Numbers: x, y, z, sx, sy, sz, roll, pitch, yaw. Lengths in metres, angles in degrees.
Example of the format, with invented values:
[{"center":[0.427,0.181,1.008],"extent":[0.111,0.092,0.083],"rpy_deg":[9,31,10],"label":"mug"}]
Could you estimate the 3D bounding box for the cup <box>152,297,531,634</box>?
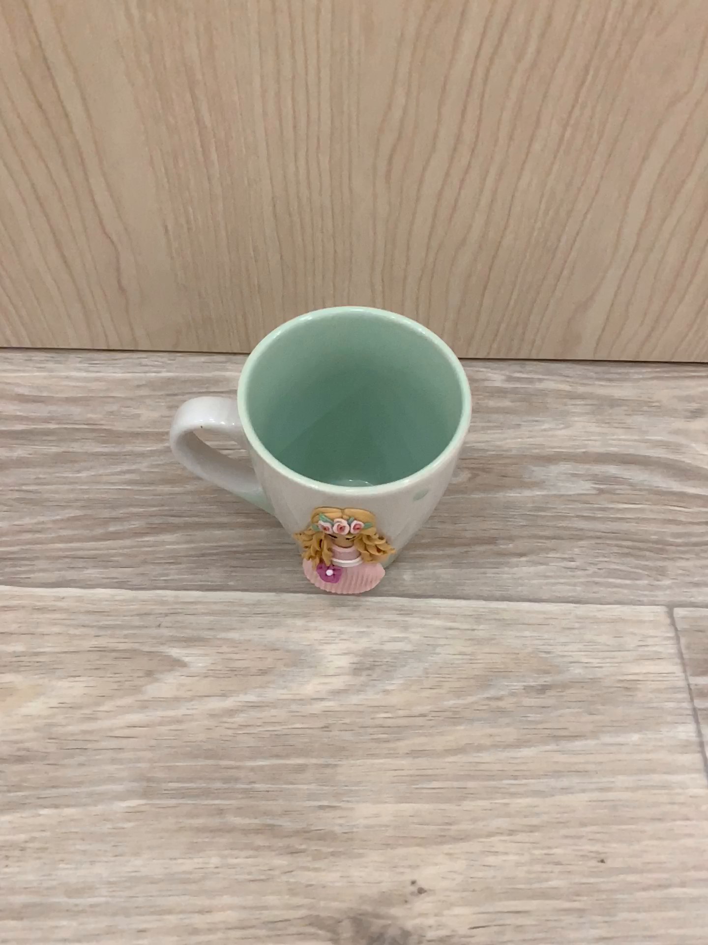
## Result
[{"center":[-0.004,-0.001,0.274],"extent":[0.111,0.080,0.093],"rpy_deg":[2,57,-1],"label":"cup"}]
